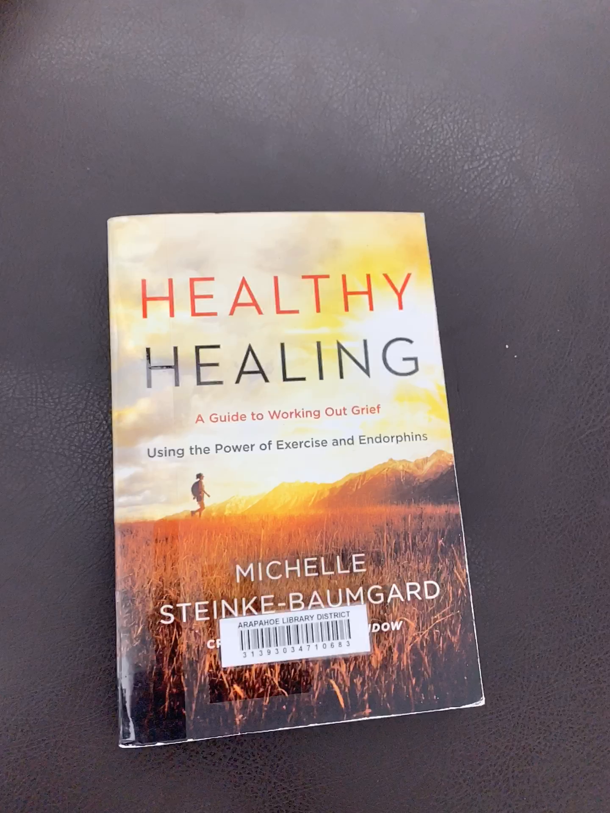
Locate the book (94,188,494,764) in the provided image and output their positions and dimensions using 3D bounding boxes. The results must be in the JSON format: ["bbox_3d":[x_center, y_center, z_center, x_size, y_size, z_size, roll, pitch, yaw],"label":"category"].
[{"bbox_3d":[-0.009,0.015,0.258,0.140,0.027,0.212,-3,78,-10],"label":"book"}]
